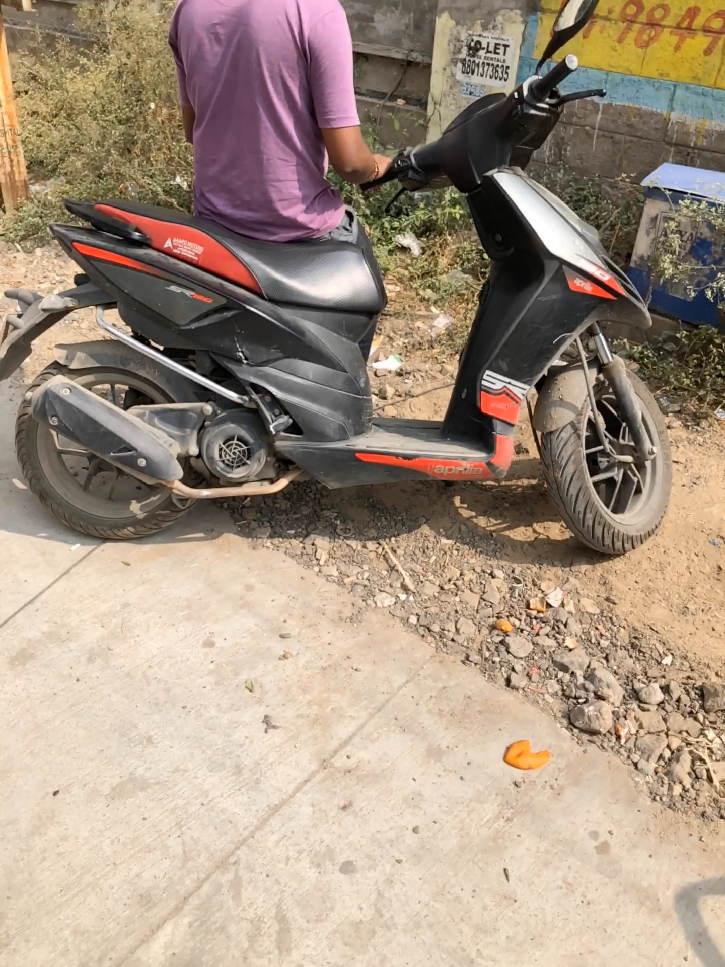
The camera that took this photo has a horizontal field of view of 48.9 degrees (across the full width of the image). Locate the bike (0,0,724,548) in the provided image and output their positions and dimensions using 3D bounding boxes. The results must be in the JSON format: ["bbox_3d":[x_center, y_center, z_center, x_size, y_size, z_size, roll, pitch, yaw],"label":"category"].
[{"bbox_3d":[-0.038,-0.620,2.217,1.766,1.199,0.721,-5,35,-9],"label":"bike"}]
